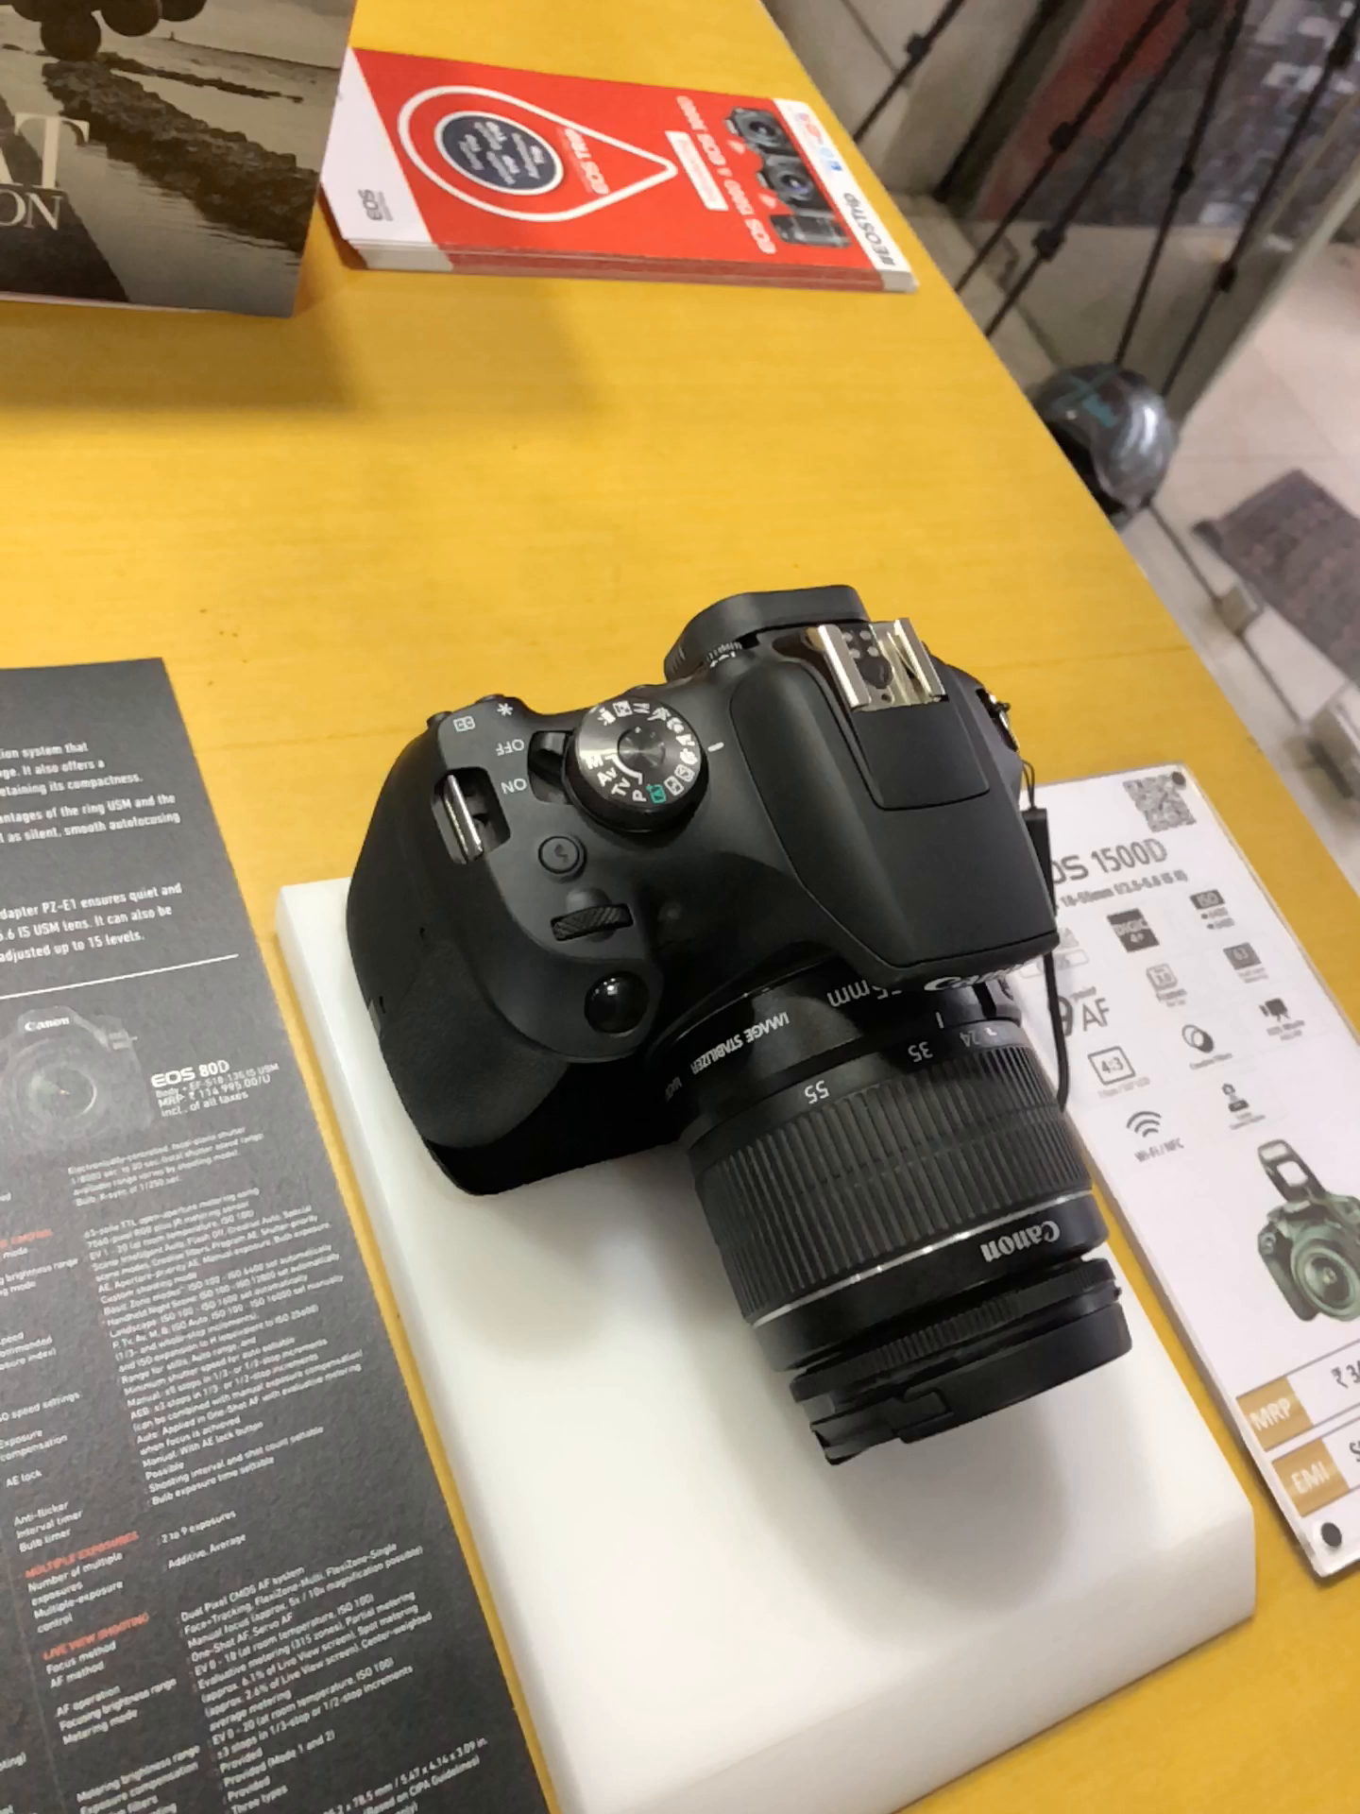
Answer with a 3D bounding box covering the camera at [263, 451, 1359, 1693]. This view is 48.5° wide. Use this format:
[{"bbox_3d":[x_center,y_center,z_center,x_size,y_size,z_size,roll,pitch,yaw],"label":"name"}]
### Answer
[{"bbox_3d":[0.029,0.015,0.237,0.140,0.089,0.140,-12,62,-29],"label":"camera"}]
